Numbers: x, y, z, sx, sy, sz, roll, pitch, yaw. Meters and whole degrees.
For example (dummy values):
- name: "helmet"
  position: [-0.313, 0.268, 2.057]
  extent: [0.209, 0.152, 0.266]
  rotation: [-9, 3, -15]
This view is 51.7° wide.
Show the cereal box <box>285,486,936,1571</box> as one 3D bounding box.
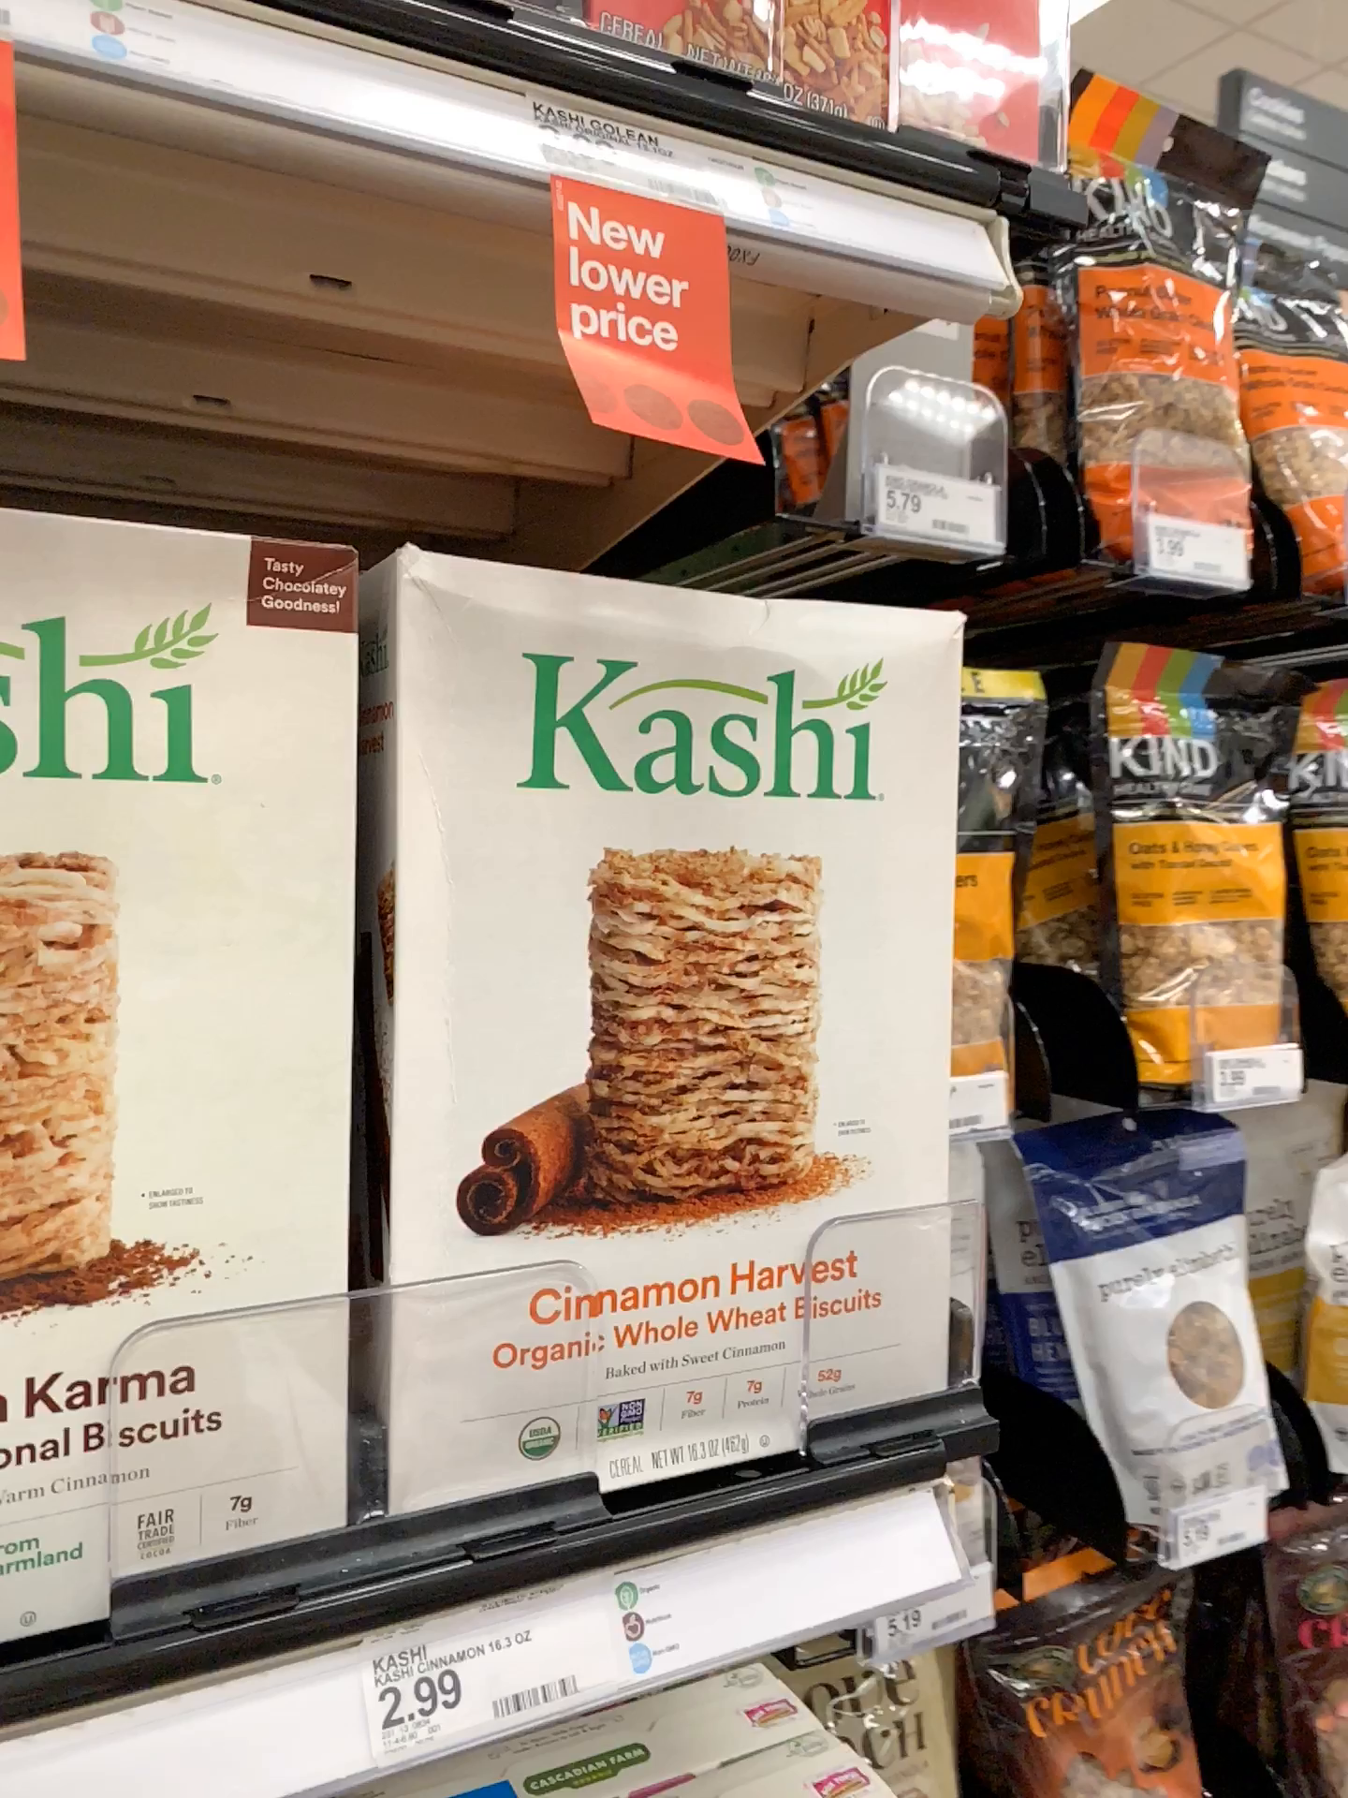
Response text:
- name: "cereal box"
  position: [-0.017, 0.032, 0.434]
  extent: [0.190, 0.280, 0.070]
  rotation: [0, 1, -28]
